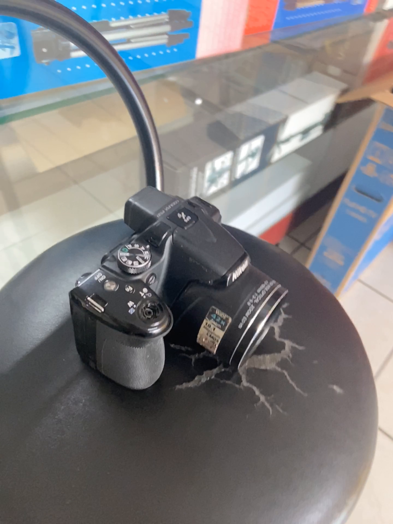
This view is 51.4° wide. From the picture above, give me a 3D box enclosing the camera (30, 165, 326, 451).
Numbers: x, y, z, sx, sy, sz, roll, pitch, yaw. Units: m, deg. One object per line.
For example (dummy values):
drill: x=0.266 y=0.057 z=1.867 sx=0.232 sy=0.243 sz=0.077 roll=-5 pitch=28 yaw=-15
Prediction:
camera: x=-0.007 y=0.017 z=0.264 sx=0.120 sy=0.070 sz=0.131 roll=30 pitch=49 yaw=19
